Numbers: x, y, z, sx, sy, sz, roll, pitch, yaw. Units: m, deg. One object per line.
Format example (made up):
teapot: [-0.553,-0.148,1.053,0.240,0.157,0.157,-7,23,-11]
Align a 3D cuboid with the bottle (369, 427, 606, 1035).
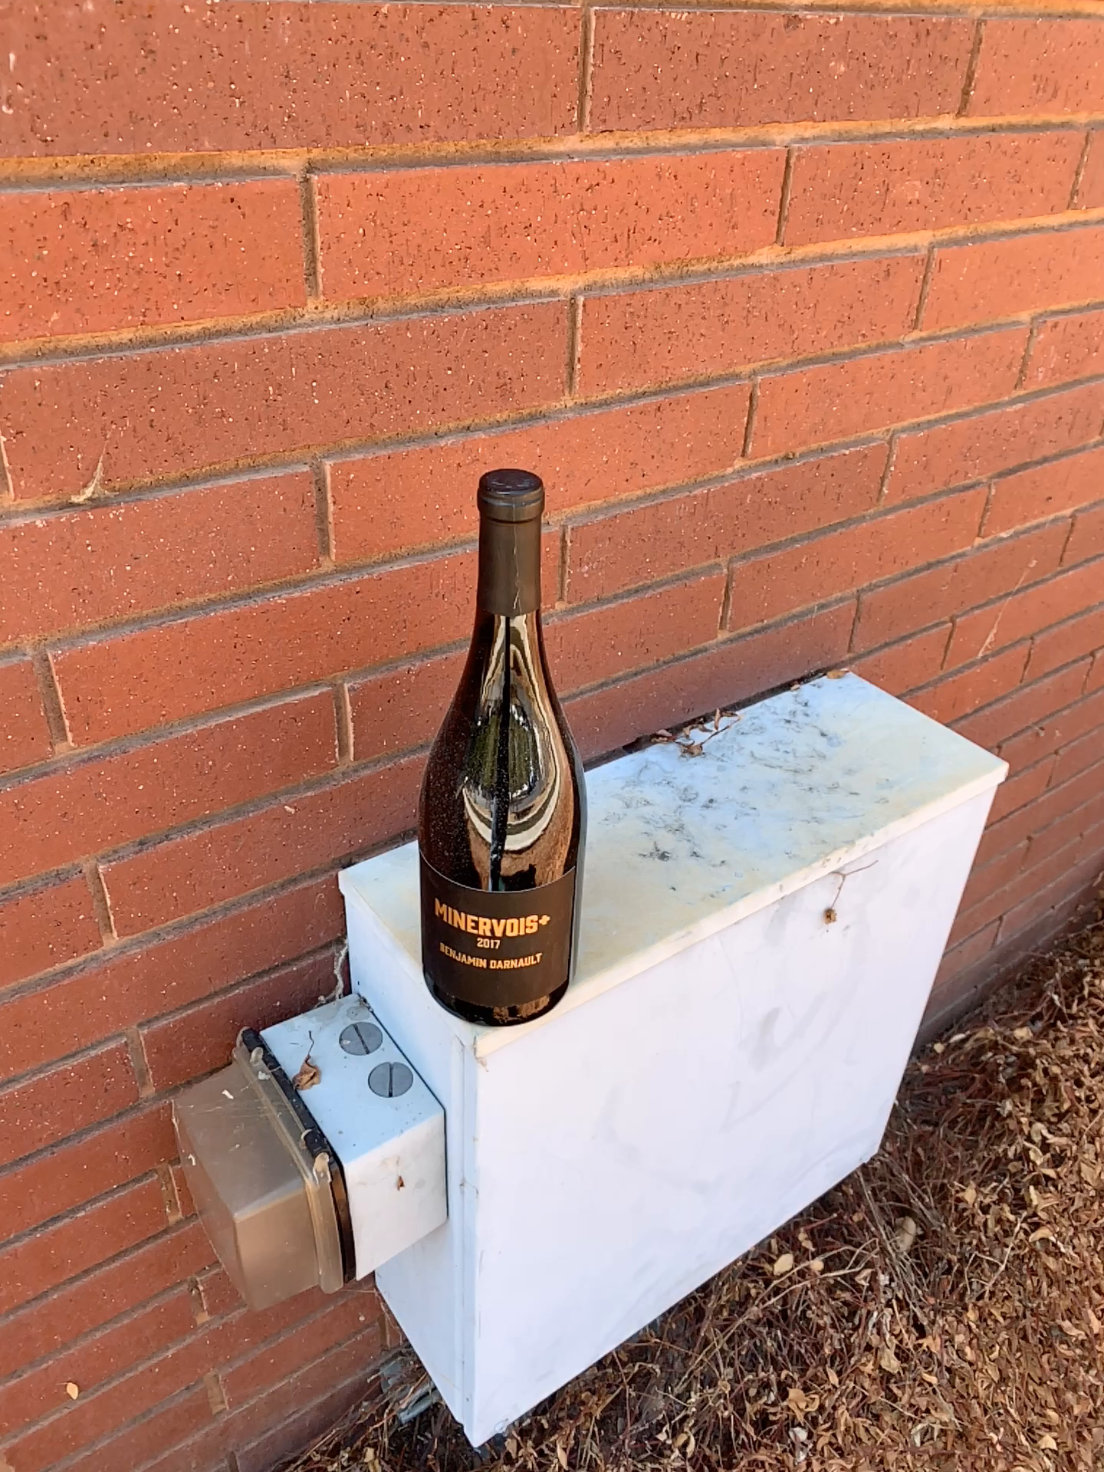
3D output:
bottle: [-0.030,0.009,0.552,0.090,0.288,0.091,2,34,-2]
